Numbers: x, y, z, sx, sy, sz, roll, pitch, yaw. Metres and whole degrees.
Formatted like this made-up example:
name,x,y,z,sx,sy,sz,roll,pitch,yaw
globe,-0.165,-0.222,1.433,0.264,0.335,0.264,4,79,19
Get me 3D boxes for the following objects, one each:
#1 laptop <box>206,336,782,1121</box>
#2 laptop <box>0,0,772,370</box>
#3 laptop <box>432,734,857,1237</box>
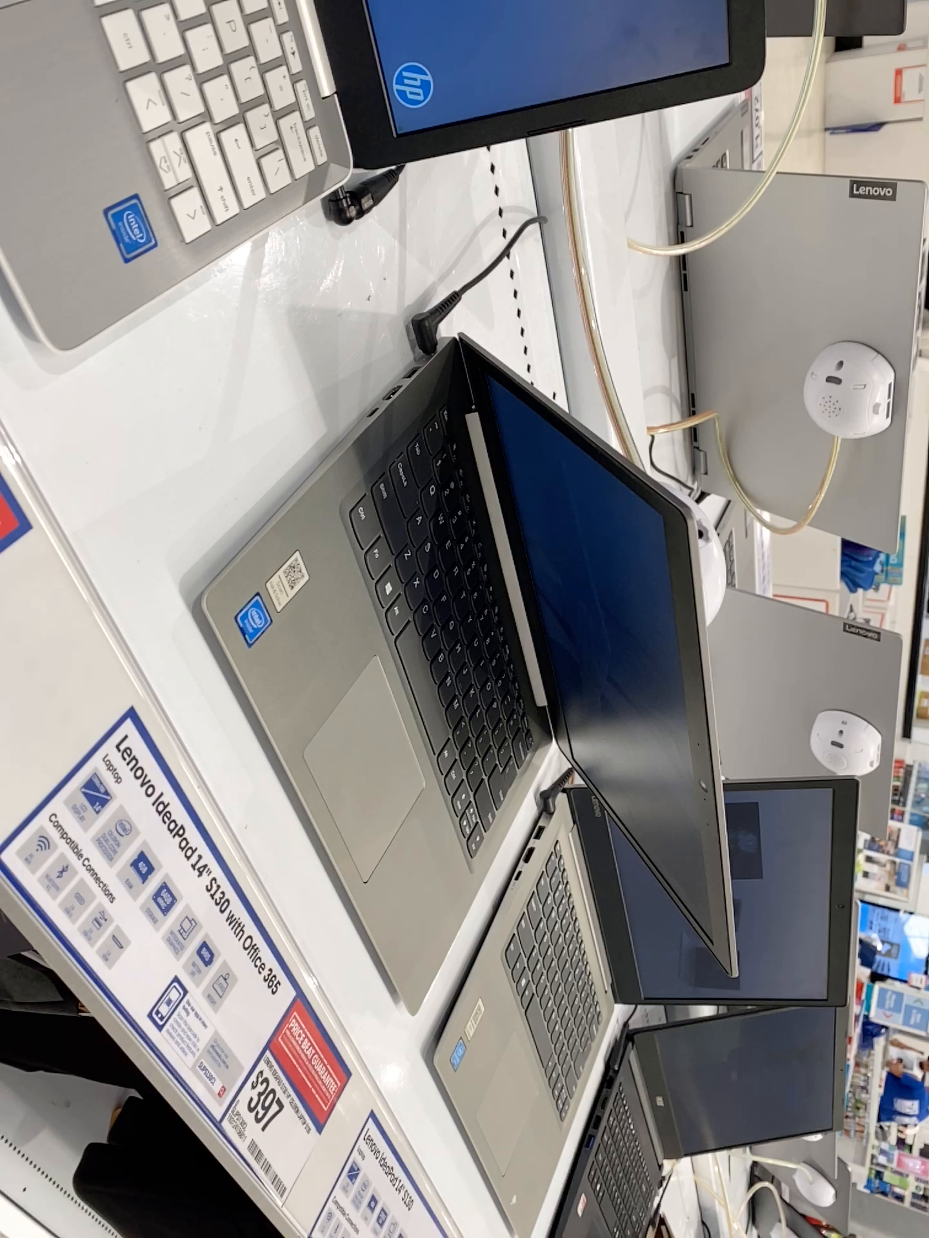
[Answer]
name,x,y,z,sx,sy,sz,roll,pitch,yaw
laptop,0.057,0.055,0.511,0.231,0.170,0.331,-56,143,-40
laptop,-0.031,-0.283,0.272,0.285,0.155,0.305,-54,140,-40
laptop,0.175,0.329,0.768,0.310,0.215,0.330,-56,143,-42
